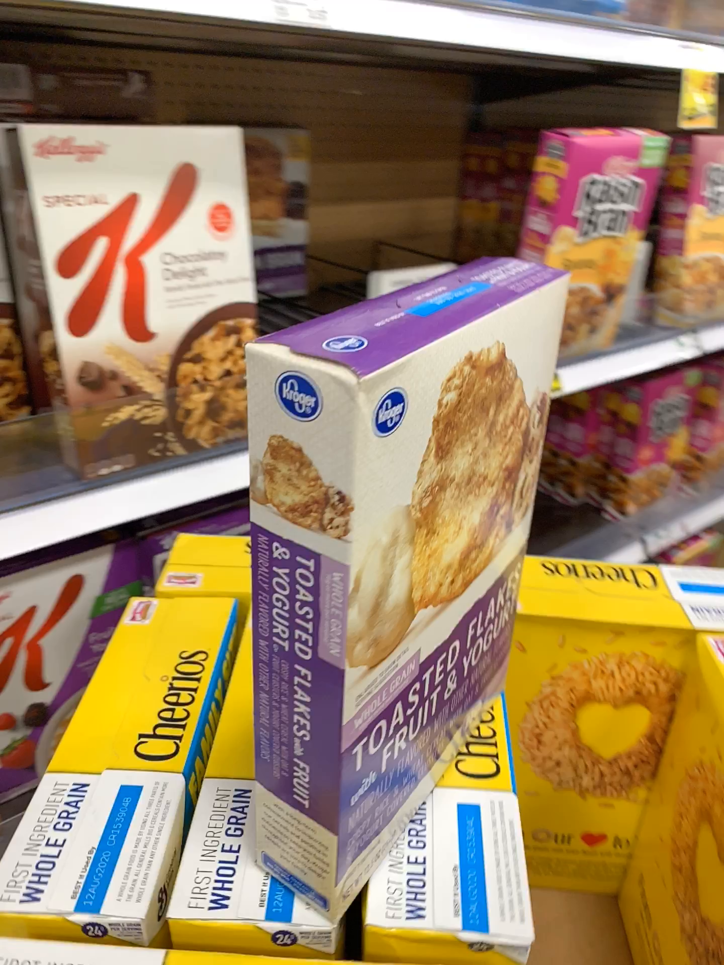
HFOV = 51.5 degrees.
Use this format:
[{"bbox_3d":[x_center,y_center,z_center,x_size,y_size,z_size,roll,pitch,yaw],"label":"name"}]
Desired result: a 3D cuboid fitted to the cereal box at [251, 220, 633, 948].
[{"bbox_3d":[0.039,0.033,0.347,0.060,0.269,0.201,19,31,27],"label":"cereal box"}]
